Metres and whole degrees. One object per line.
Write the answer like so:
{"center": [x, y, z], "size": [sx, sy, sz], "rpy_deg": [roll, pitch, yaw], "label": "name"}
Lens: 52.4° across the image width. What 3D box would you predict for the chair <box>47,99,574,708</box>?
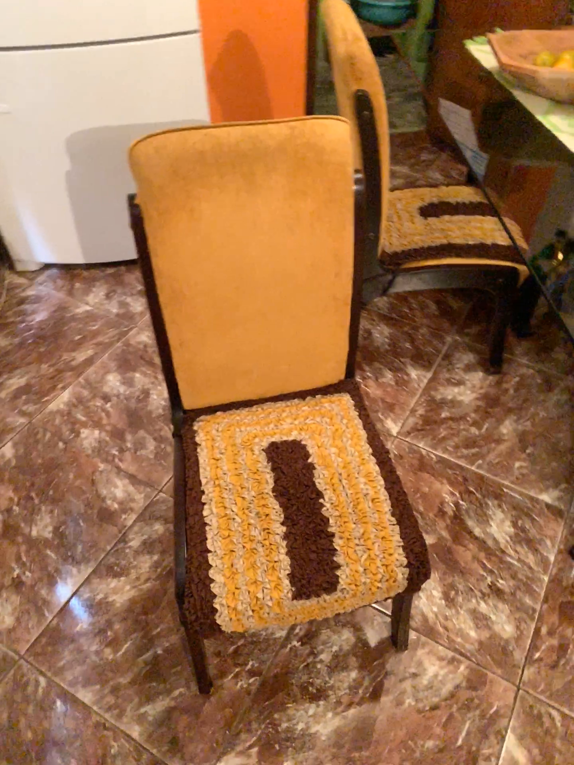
{"center": [0.006, 0.097, 1.097], "size": [0.560, 0.935, 0.603], "rpy_deg": [-9, 48, -7], "label": "chair"}
